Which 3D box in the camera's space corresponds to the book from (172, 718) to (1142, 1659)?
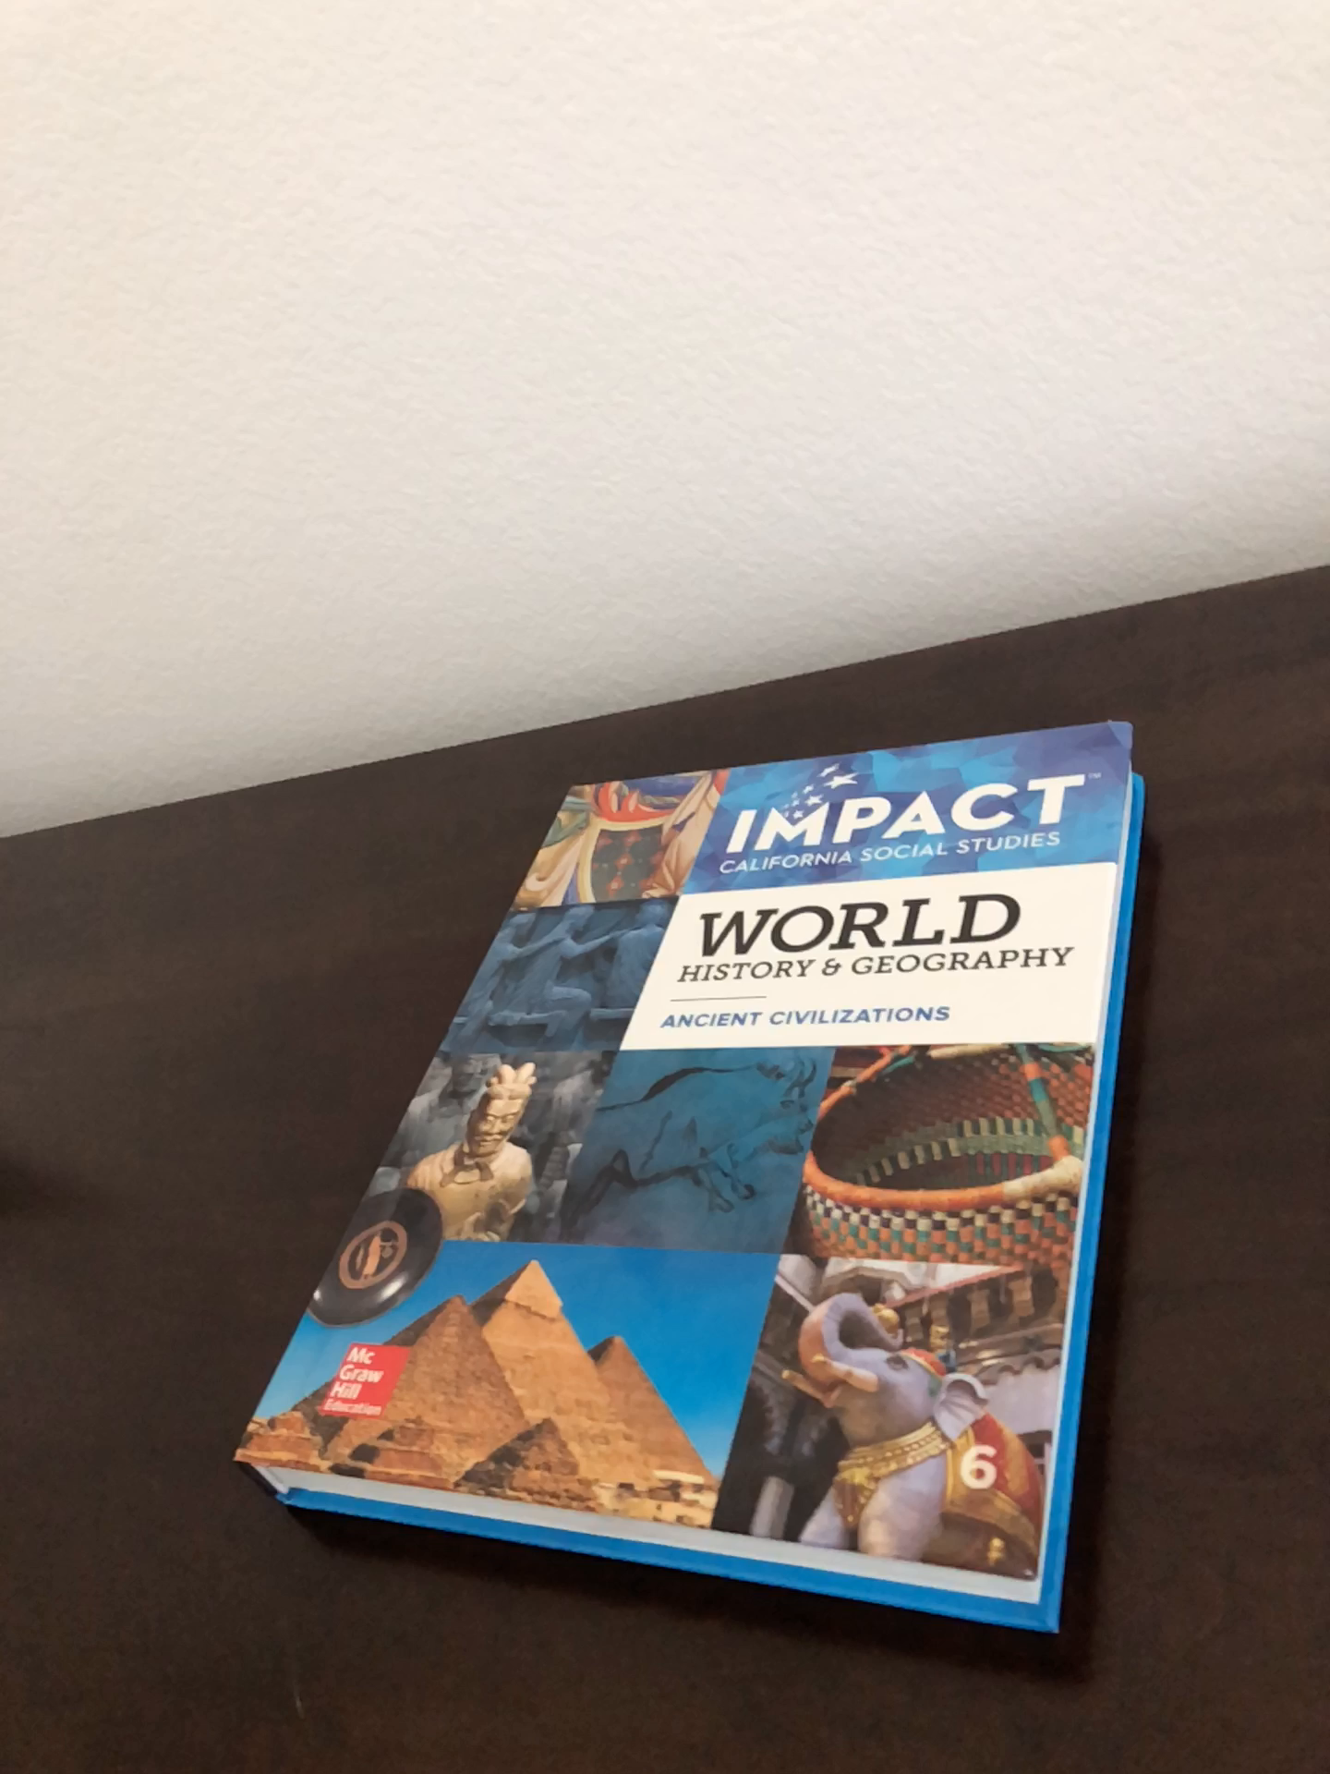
[{"bbox_3d":[0.014,0.060,0.447,0.227,0.030,0.286,-4,42,27],"label":"book"}]
